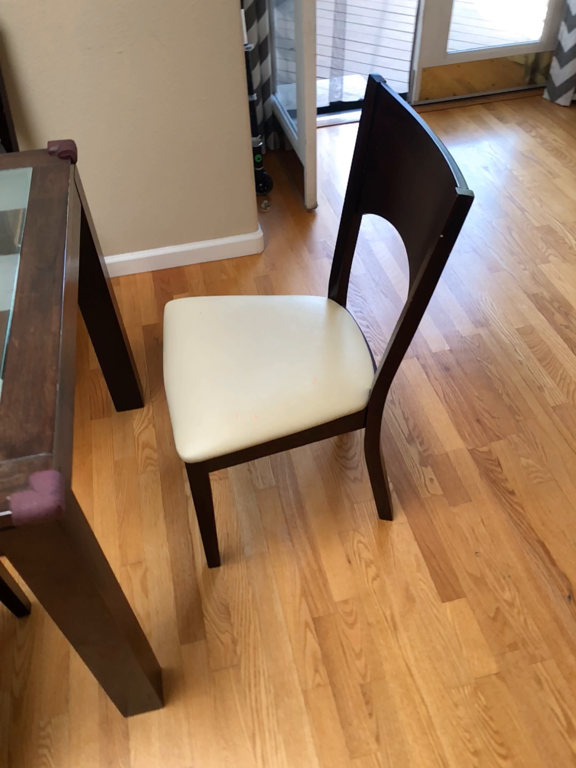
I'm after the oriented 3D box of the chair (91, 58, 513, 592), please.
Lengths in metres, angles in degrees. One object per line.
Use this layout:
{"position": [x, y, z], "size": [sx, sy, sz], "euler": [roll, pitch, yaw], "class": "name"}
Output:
{"position": [-0.004, -0.078, 1.413], "size": [0.590, 0.994, 0.563], "euler": [-9, 46, -6], "class": "chair"}
